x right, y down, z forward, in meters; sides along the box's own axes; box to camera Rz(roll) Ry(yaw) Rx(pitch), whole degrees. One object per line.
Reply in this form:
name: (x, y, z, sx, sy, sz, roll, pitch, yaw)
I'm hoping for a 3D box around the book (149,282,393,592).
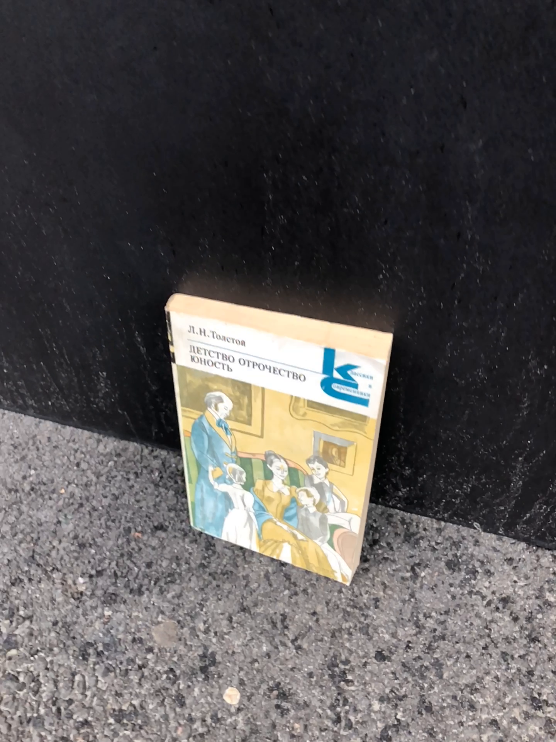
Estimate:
book: (-0.007, 0.047, 0.366, 0.120, 0.184, 0.030, 15, 40, 15)
